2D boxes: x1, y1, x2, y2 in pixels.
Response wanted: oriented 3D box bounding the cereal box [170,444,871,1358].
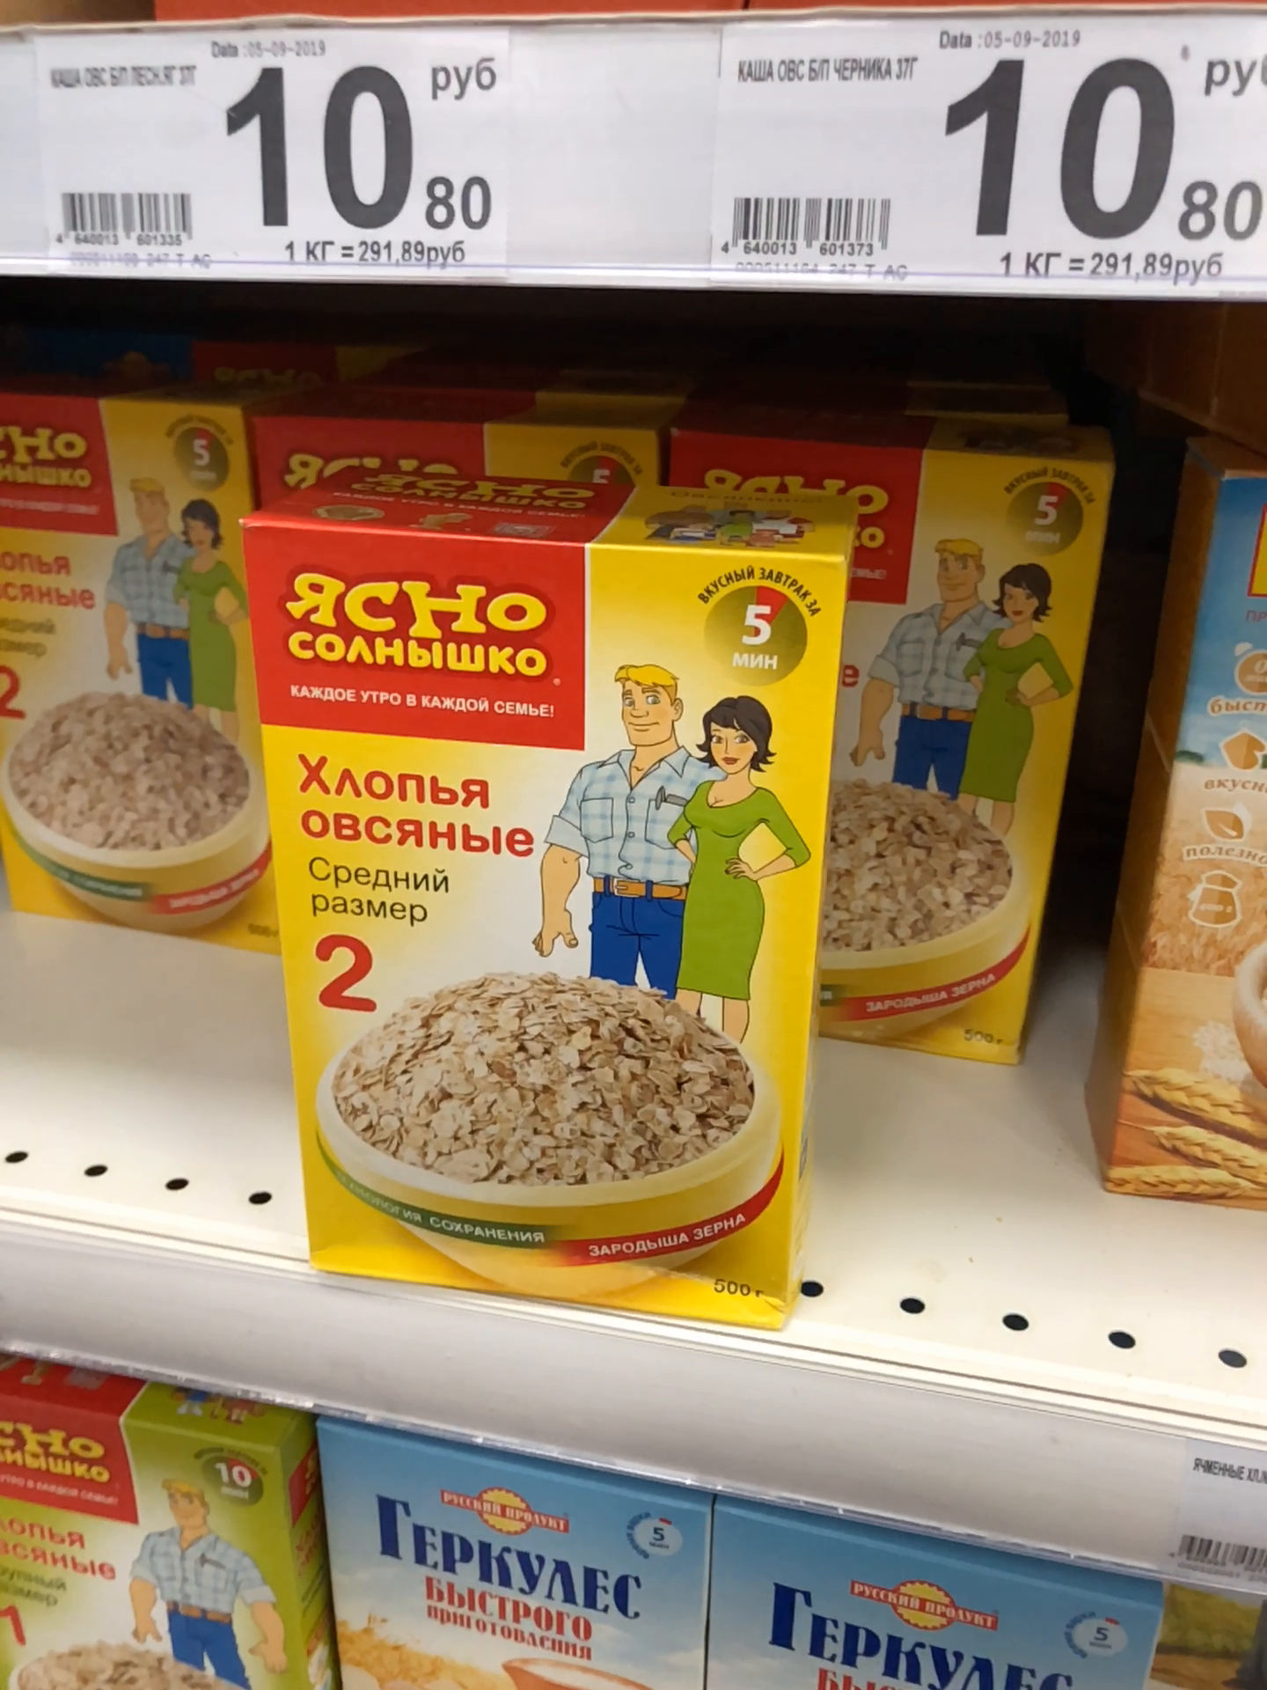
[{"bbox_3d":[-0.019,0.011,0.329,0.130,0.189,0.070,5,25,11],"label":"cereal box"}]
